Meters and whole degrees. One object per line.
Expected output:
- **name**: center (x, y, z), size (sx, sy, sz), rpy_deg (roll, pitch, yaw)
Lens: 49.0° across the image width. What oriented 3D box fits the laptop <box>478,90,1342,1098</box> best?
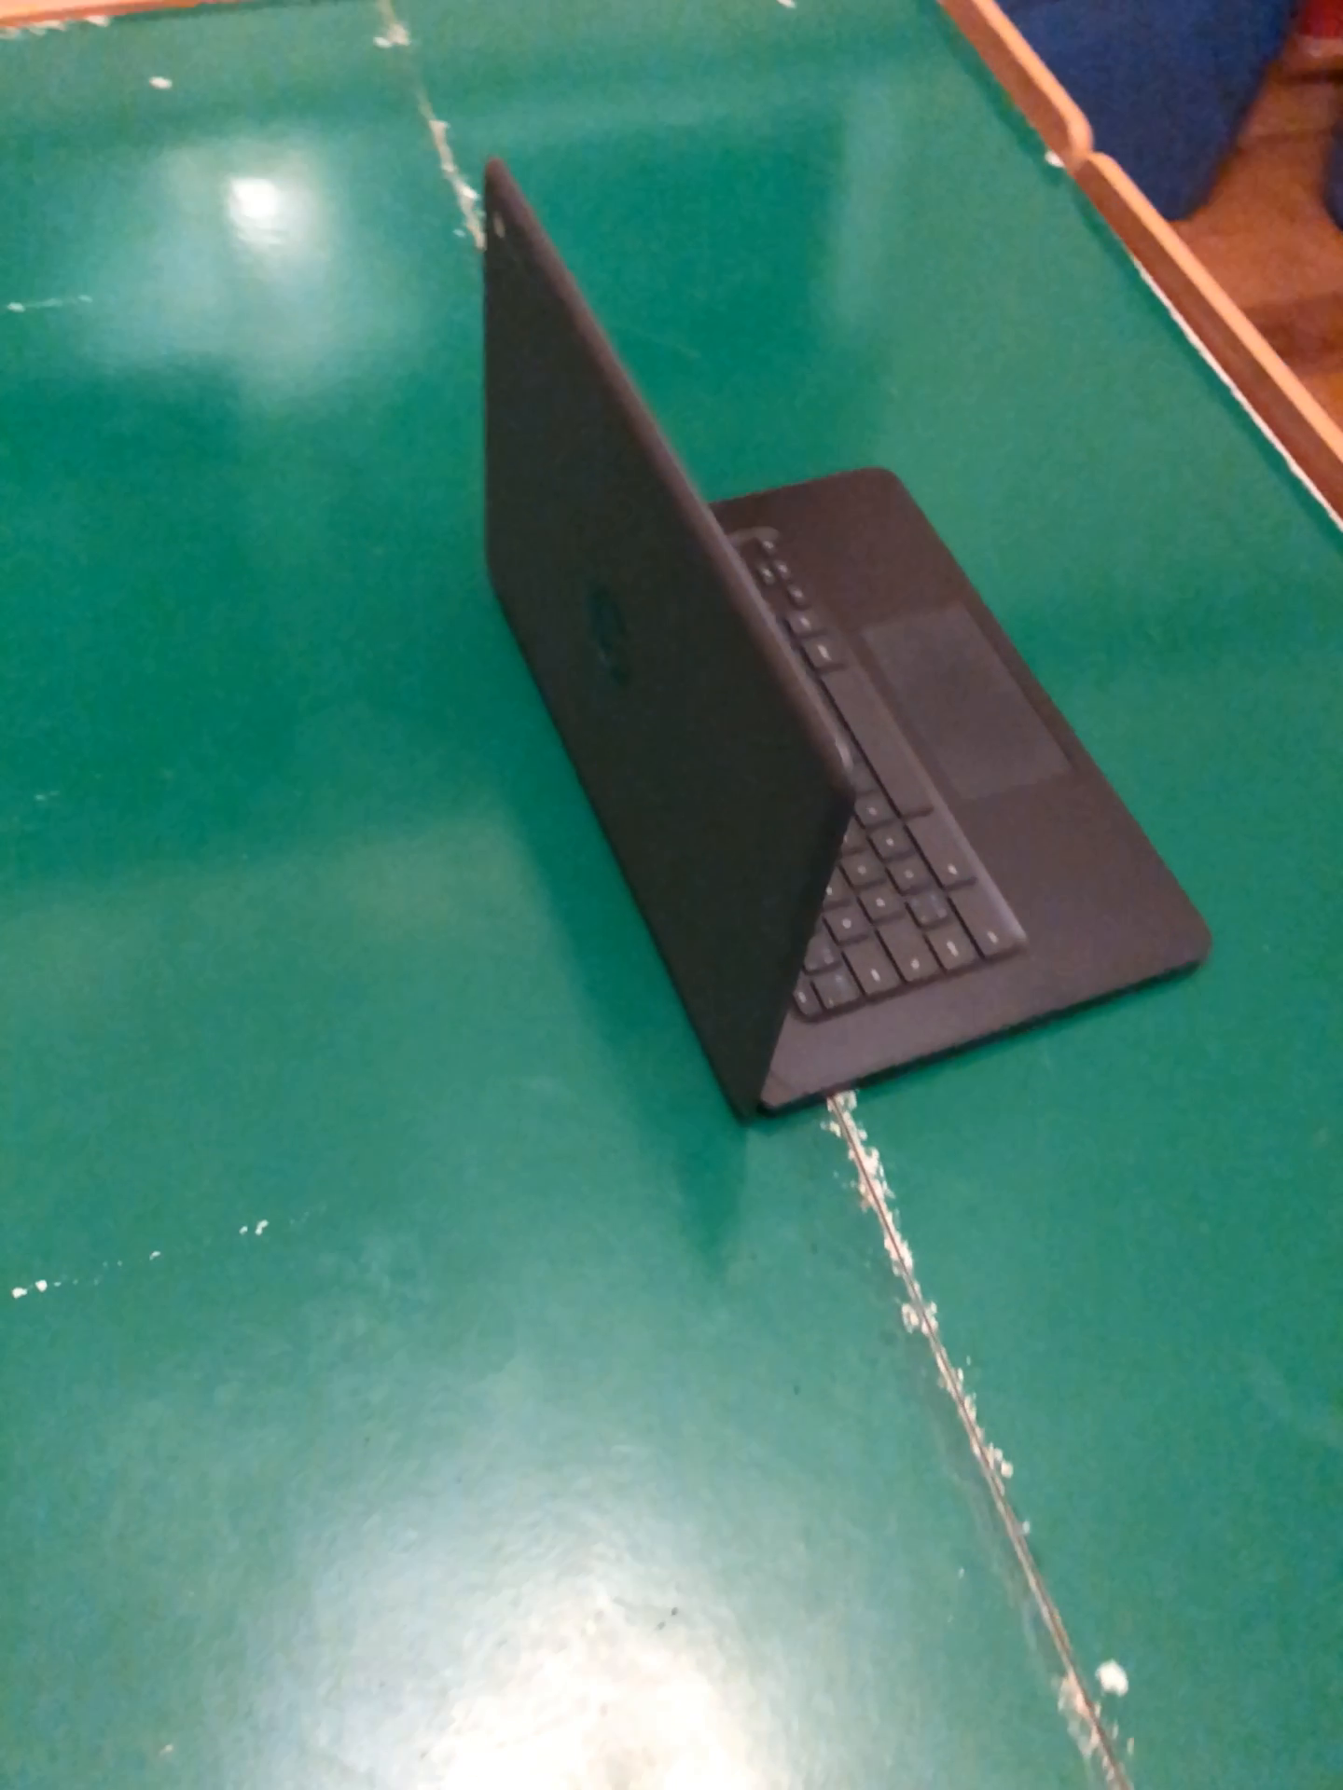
- **laptop**: center (0.078, -0.130, 0.602), size (0.210, 0.204, 0.318), rpy_deg (-17, 60, -15)
